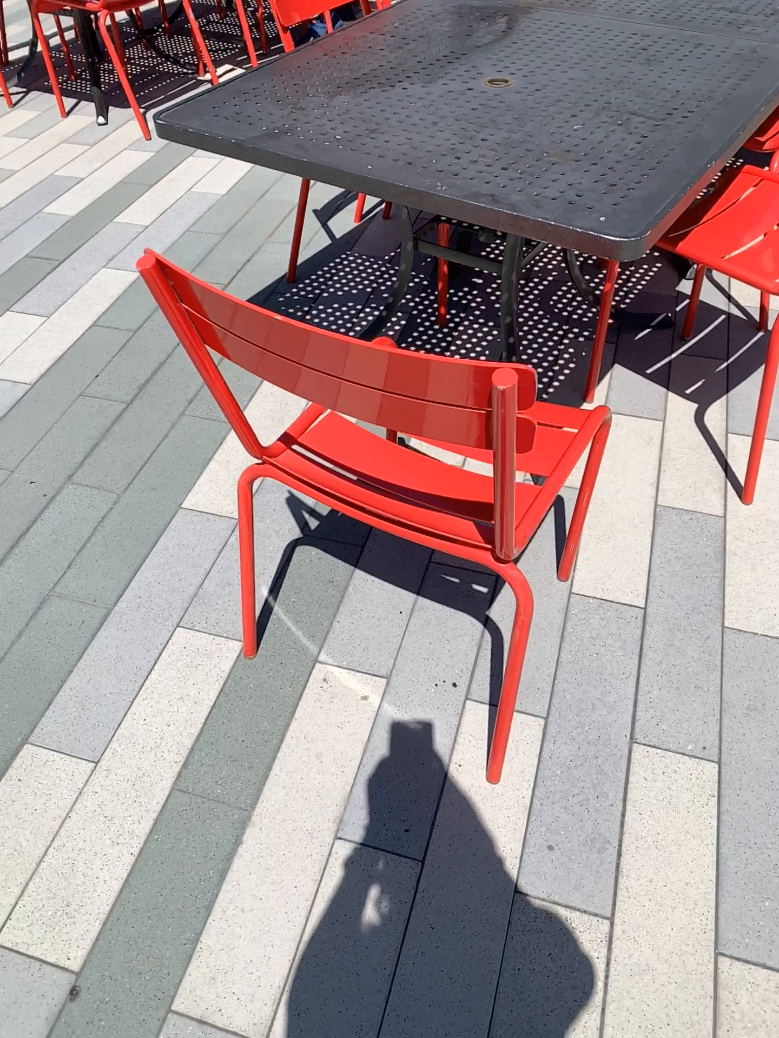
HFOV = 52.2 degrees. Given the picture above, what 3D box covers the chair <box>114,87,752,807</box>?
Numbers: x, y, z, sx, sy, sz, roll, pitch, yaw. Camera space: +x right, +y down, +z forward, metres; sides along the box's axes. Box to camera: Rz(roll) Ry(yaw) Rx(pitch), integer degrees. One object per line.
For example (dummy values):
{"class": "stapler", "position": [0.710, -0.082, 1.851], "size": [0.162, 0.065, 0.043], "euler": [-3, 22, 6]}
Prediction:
{"class": "chair", "position": [0.091, -0.102, 1.280], "size": [0.581, 0.845, 0.582], "euler": [21, 51, 21]}
